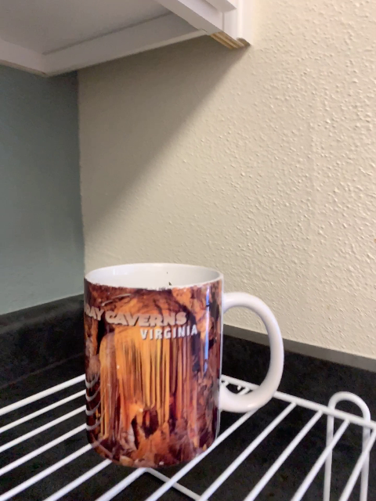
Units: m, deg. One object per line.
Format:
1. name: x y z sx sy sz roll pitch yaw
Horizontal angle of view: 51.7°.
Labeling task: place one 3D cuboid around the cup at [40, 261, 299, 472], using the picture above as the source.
1. cup: -0.008 0.057 0.225 0.120 0.090 0.080 0 8 1
